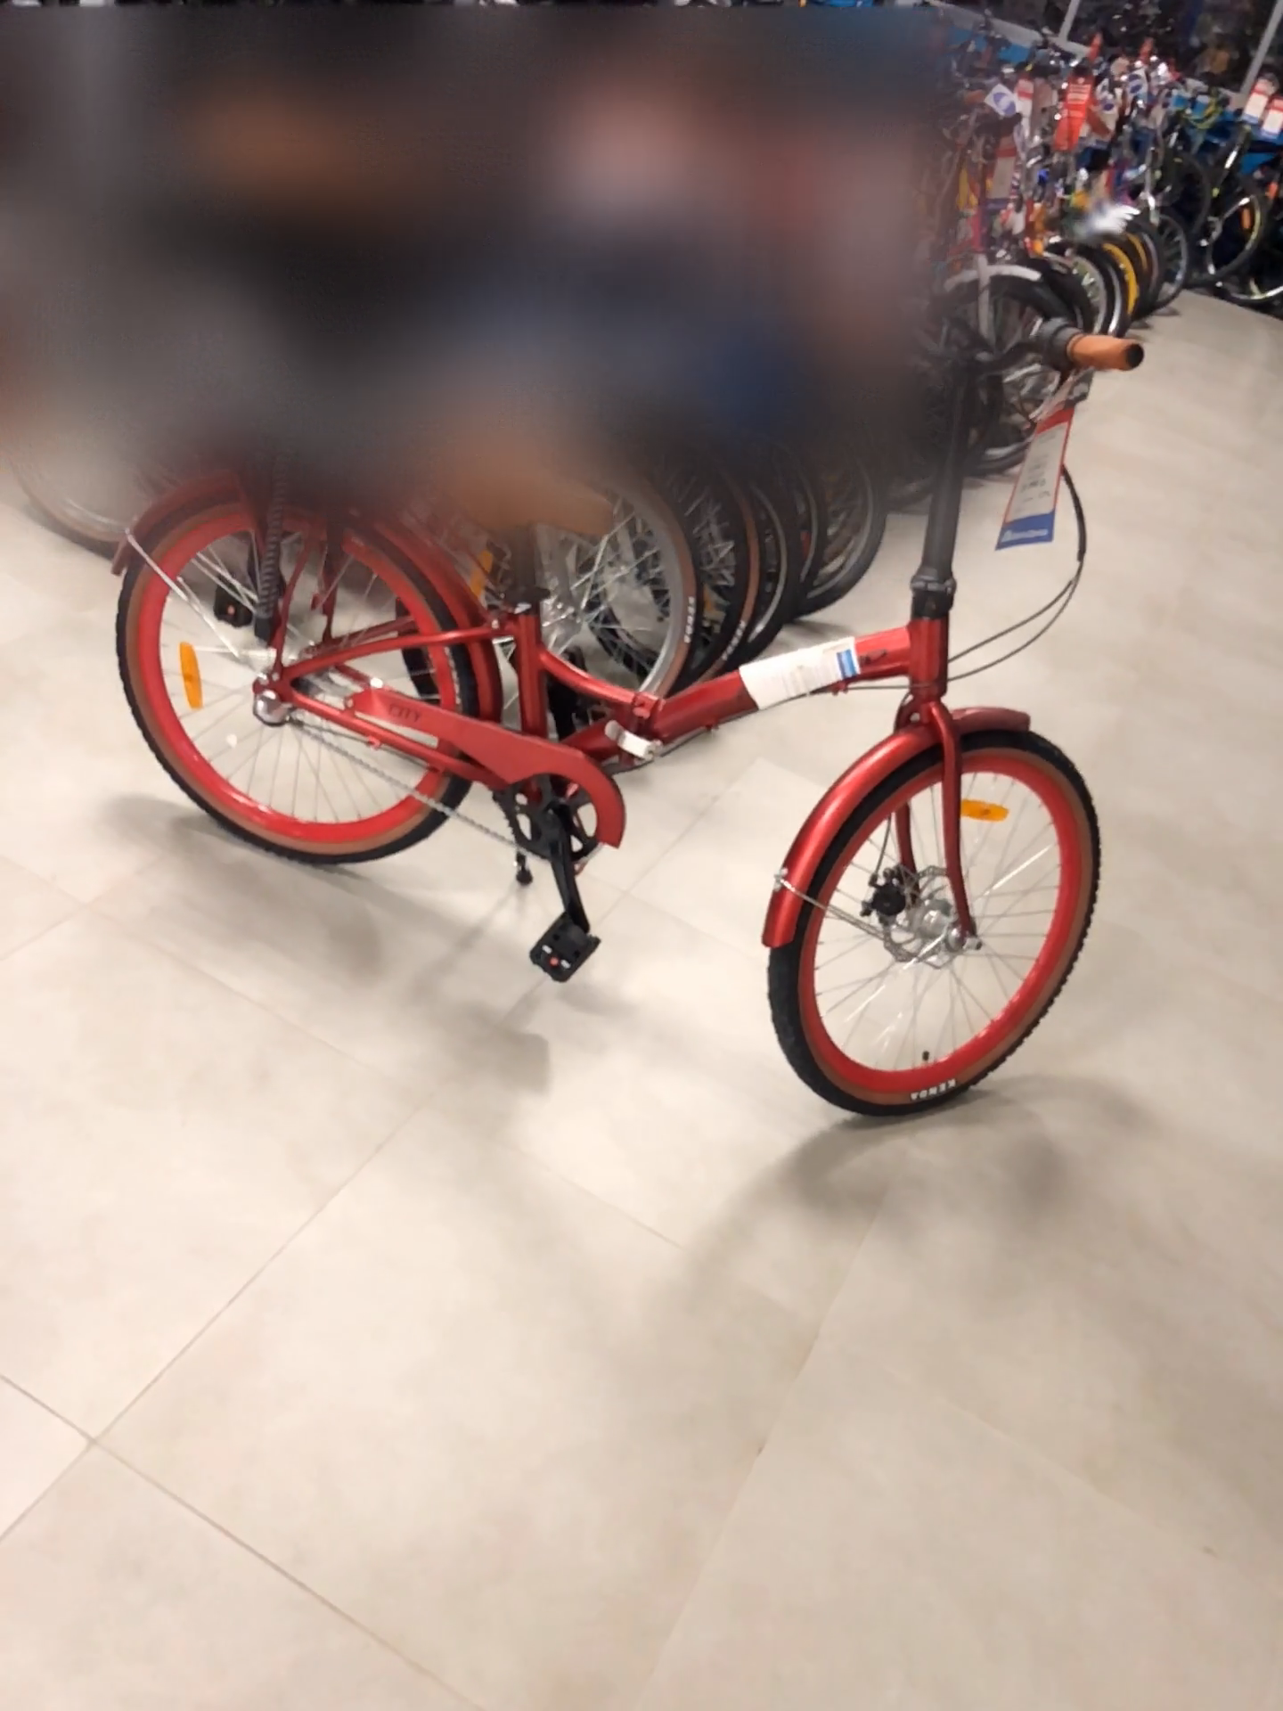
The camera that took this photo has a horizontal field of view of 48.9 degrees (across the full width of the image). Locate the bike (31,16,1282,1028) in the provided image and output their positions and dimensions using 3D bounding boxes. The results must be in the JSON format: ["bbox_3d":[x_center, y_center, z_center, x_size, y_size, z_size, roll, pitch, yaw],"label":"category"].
[{"bbox_3d":[-0.006,-0.460,2.052,1.493,1.111,0.519,13,34,1],"label":"bike"}]
